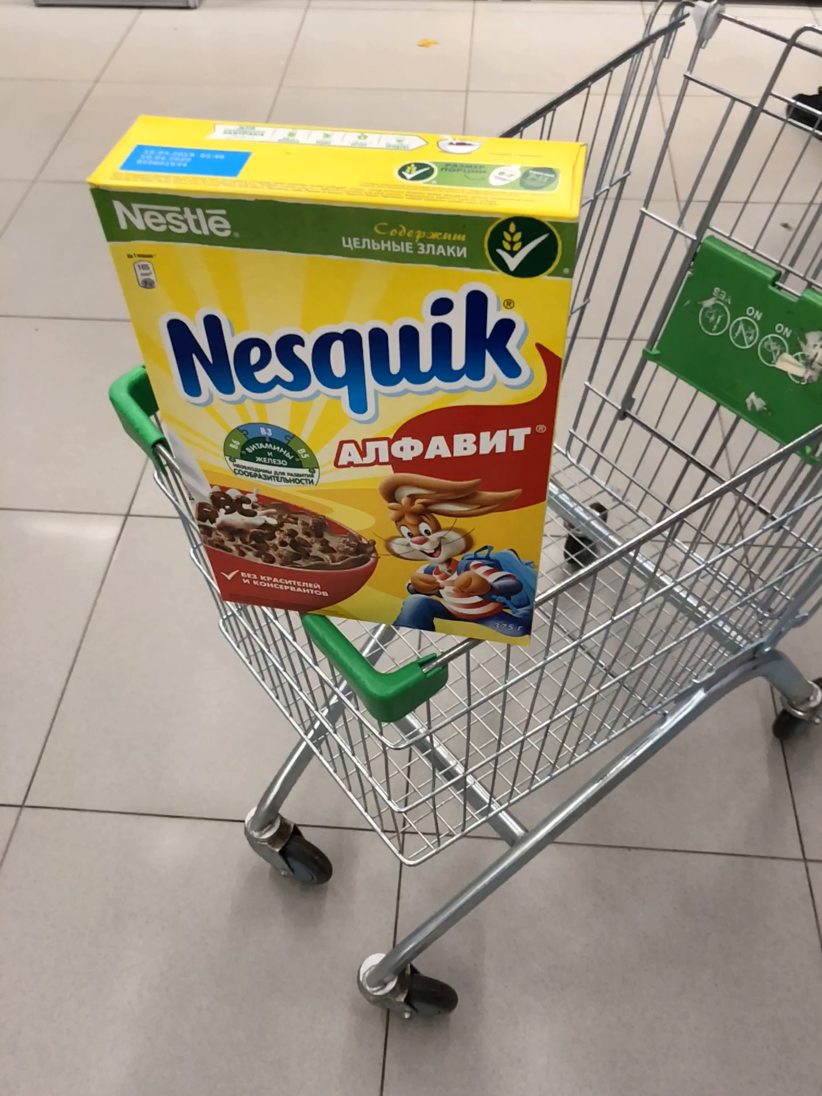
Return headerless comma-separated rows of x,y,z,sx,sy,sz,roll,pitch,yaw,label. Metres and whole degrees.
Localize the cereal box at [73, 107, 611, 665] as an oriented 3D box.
-0.023,-0.058,0.460,0.200,0.289,0.060,7,50,7,cereal box
